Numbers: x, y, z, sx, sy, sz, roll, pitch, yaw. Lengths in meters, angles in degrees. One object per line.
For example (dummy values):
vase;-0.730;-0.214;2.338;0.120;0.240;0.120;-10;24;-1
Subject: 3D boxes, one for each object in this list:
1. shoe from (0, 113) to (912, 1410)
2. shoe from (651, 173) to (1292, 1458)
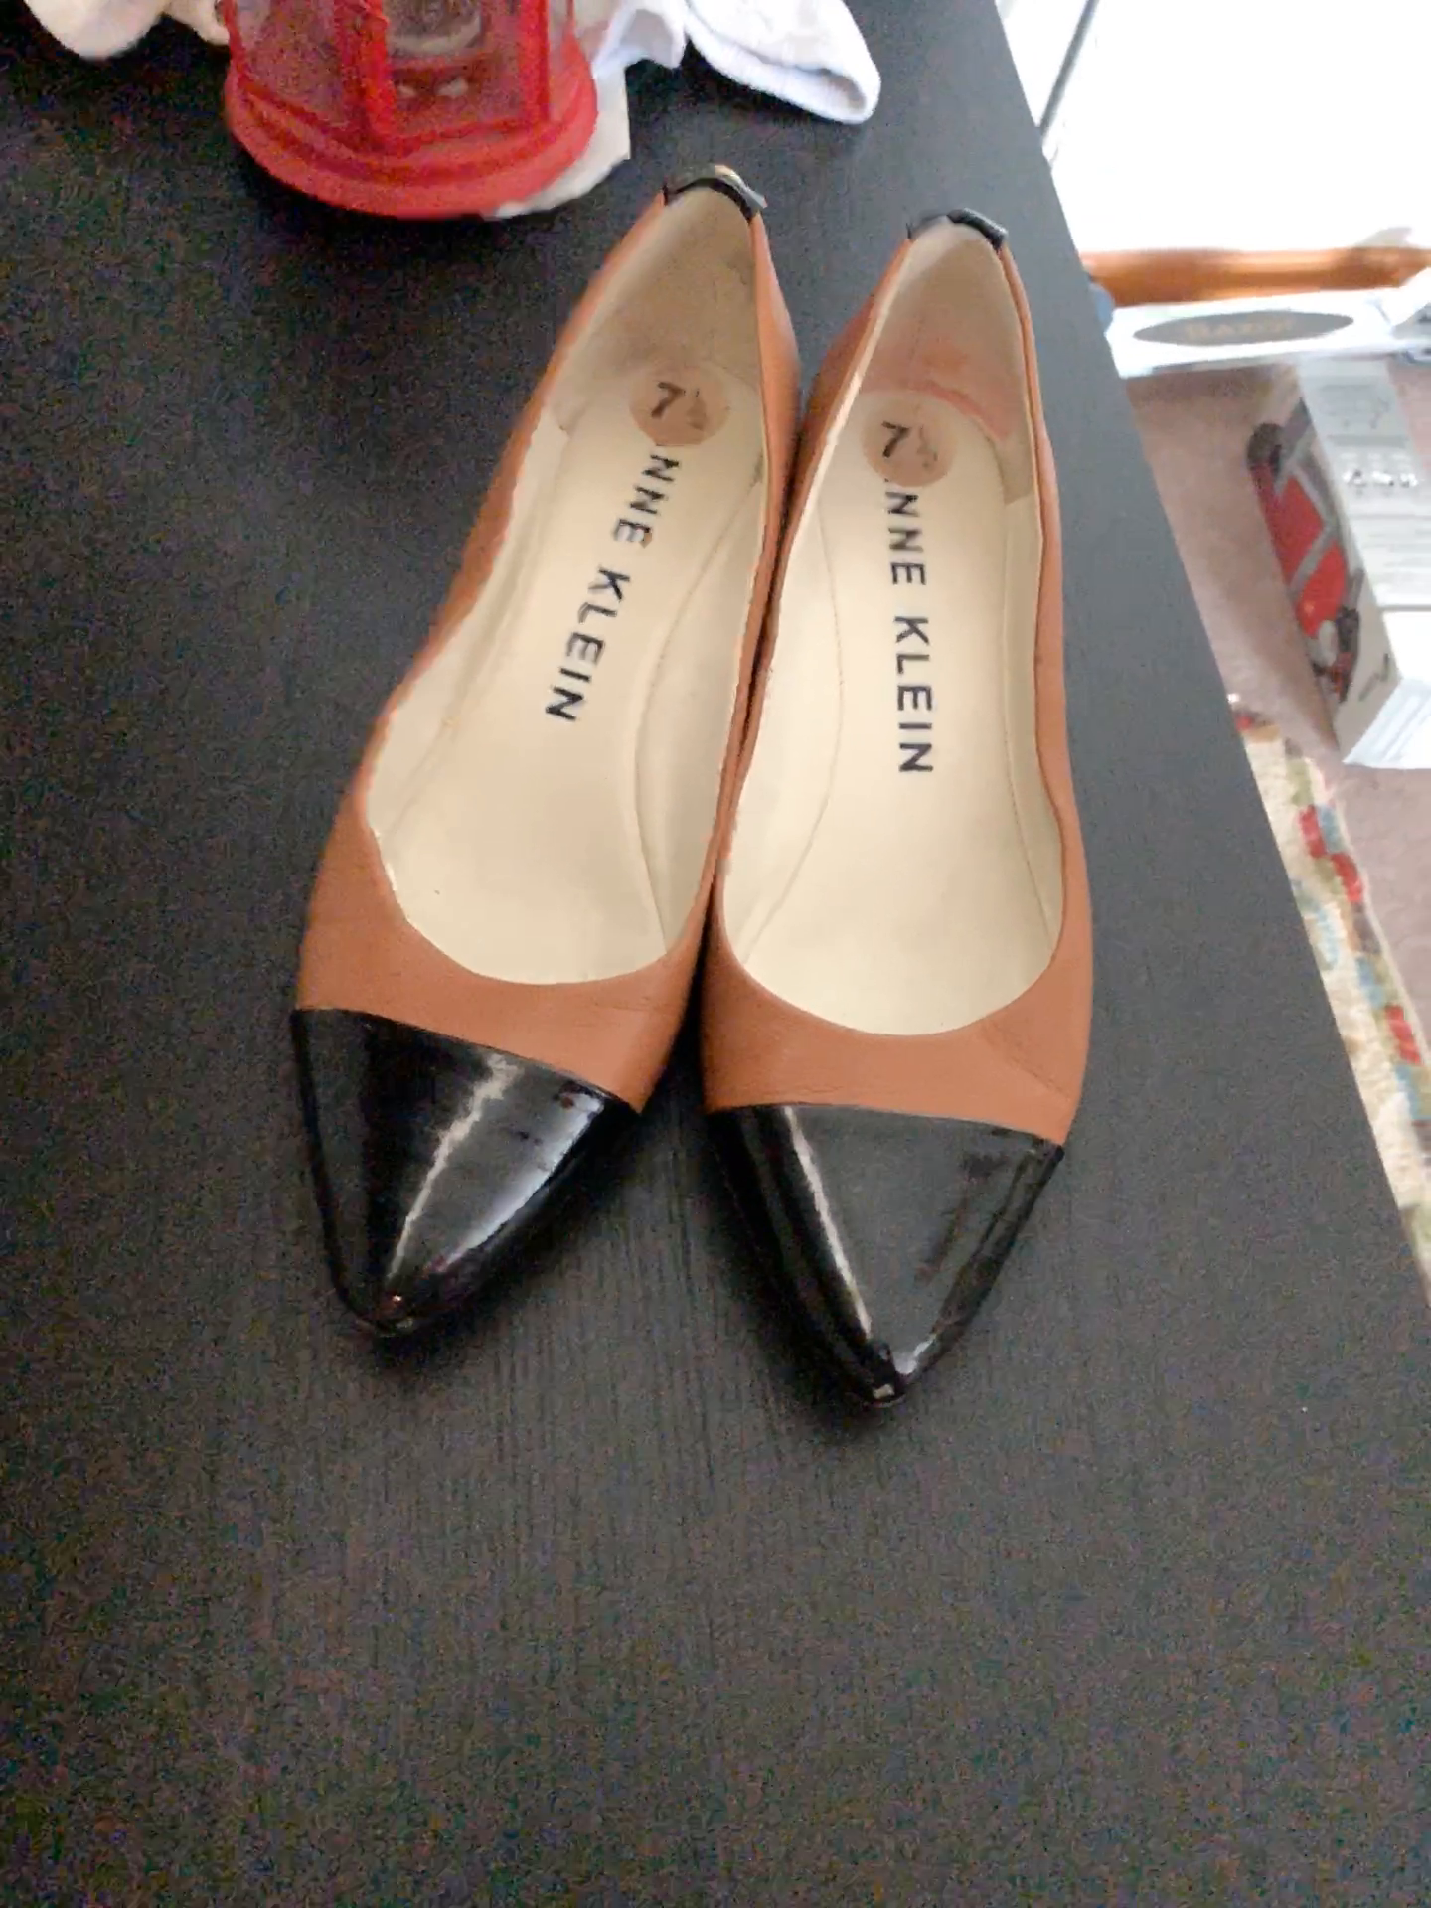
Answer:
shoe;-0.034;-0.054;0.313;0.092;0.080;0.262;14;61;4
shoe;0.044;-0.038;0.325;0.092;0.099;0.262;5;61;-1
